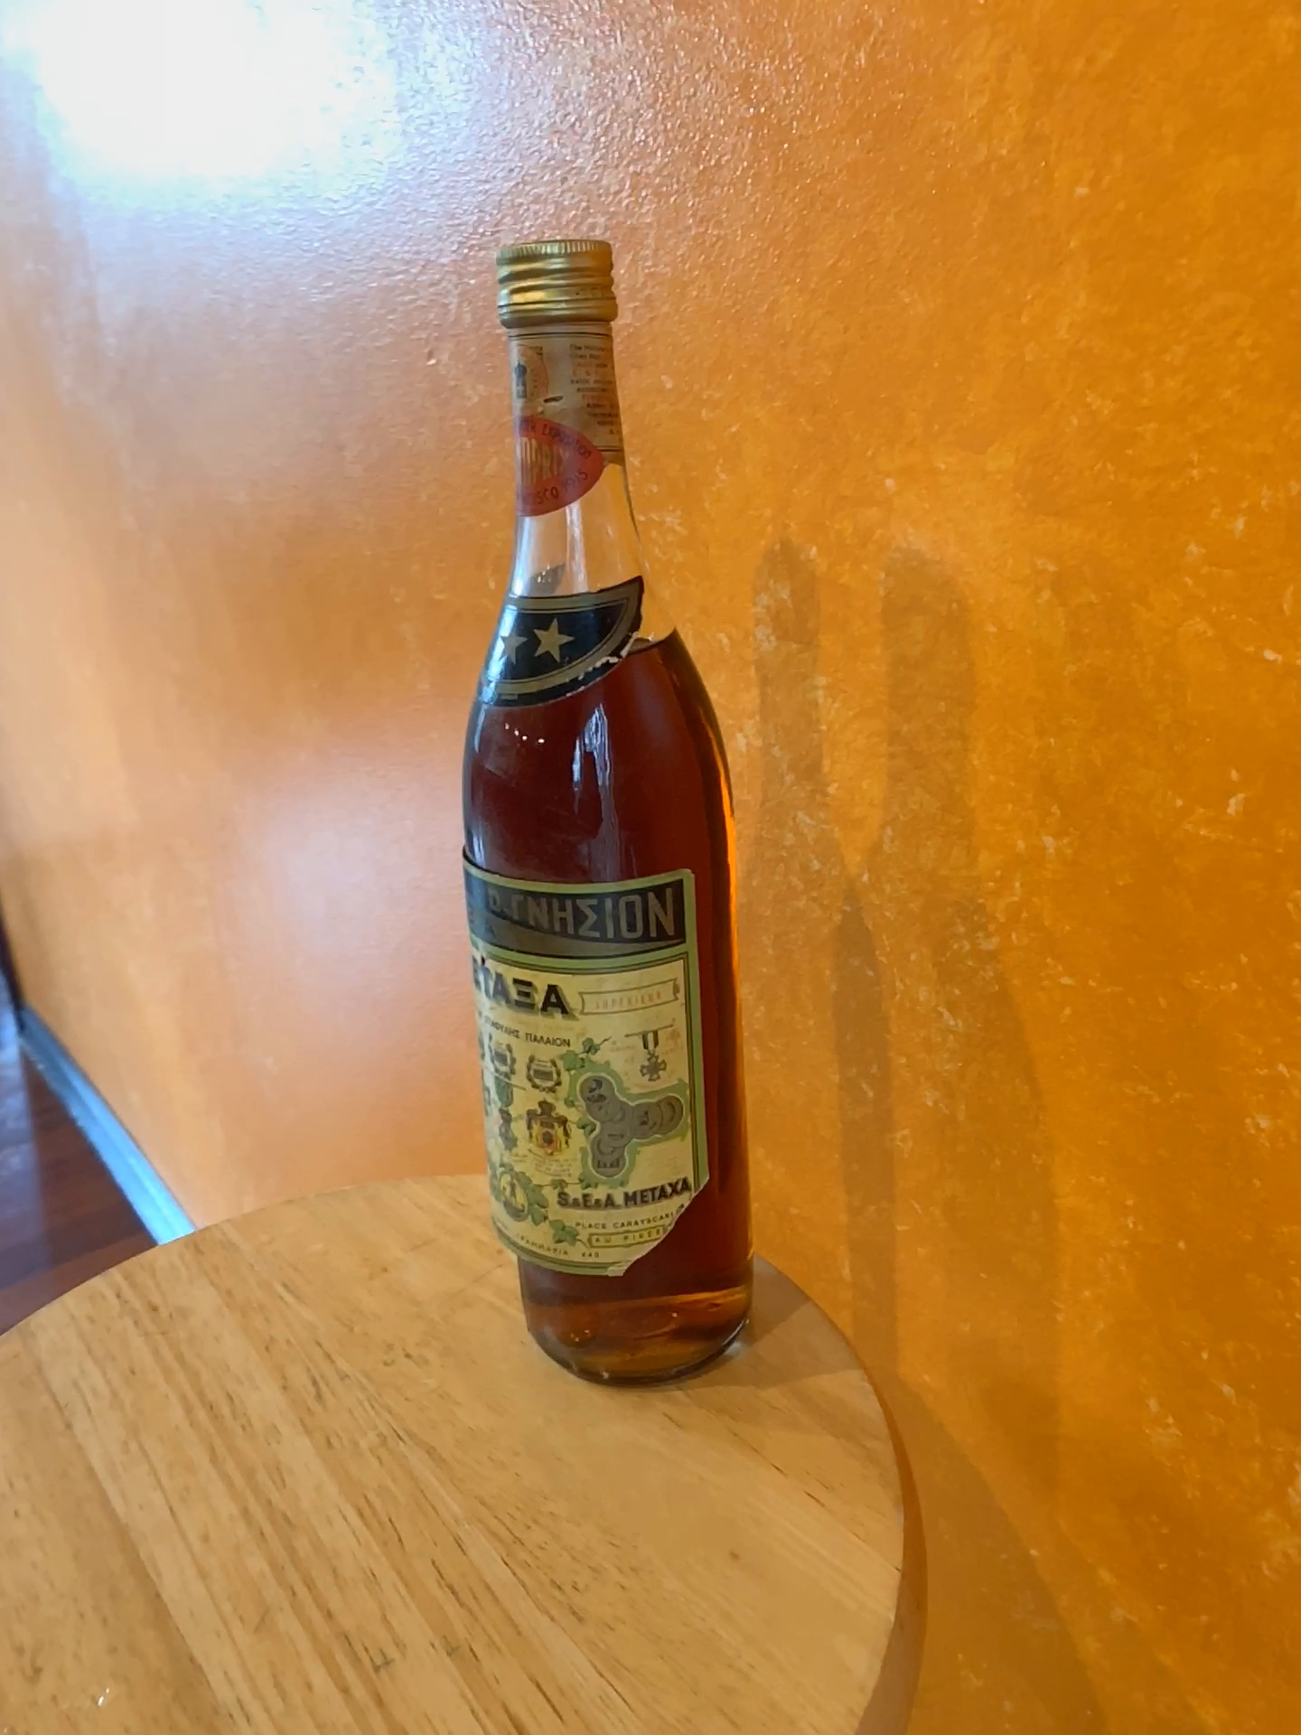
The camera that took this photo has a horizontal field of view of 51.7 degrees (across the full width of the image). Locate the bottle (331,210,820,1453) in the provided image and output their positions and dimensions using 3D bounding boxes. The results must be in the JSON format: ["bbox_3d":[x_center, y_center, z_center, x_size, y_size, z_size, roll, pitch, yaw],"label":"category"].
[{"bbox_3d":[-0.013,-0.003,0.355,0.070,0.299,0.080,-17,24,-31],"label":"bottle"}]
